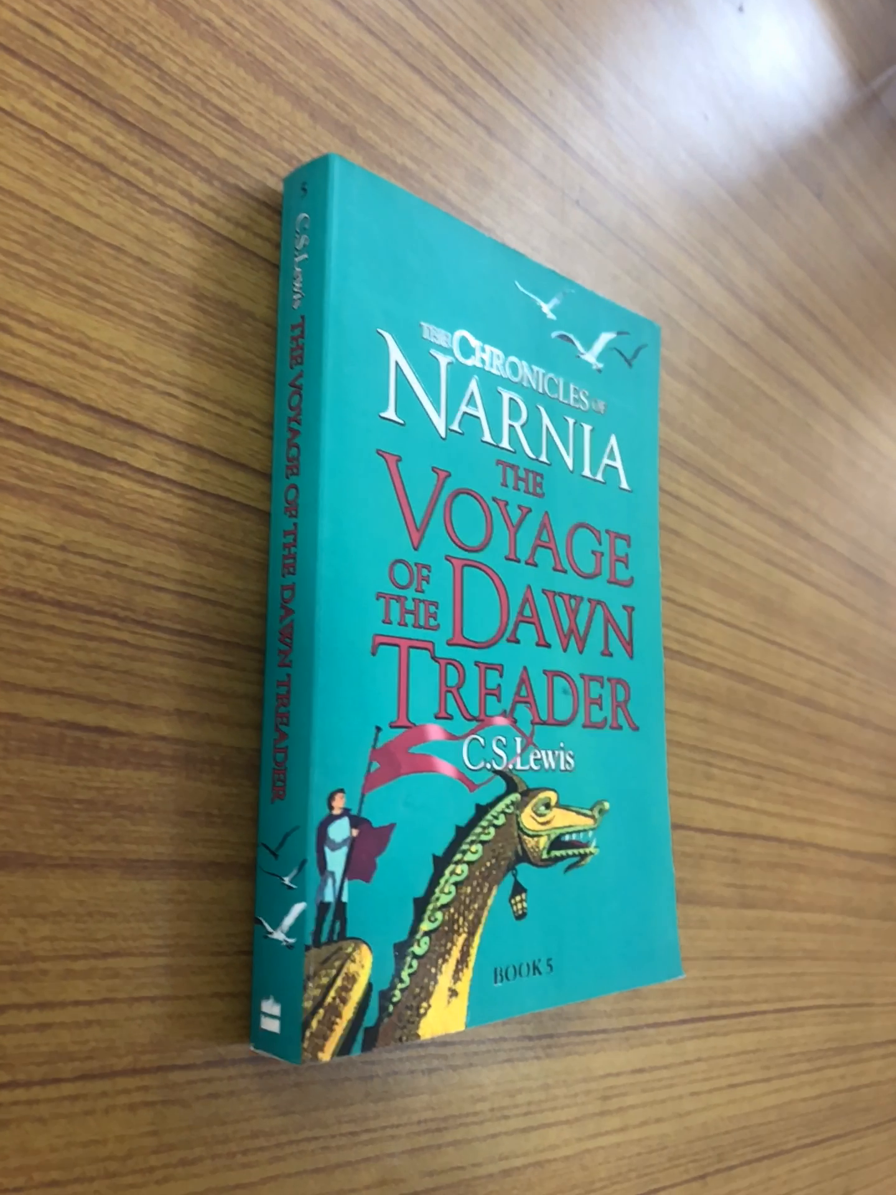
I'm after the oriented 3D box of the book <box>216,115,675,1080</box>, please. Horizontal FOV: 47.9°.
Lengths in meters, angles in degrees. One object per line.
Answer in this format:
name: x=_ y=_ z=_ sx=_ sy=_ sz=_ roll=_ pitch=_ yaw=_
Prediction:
book: x=0.009 y=0.002 z=0.263 sx=0.131 sy=0.030 sz=0.200 roll=10 pitch=77 yaw=-45
